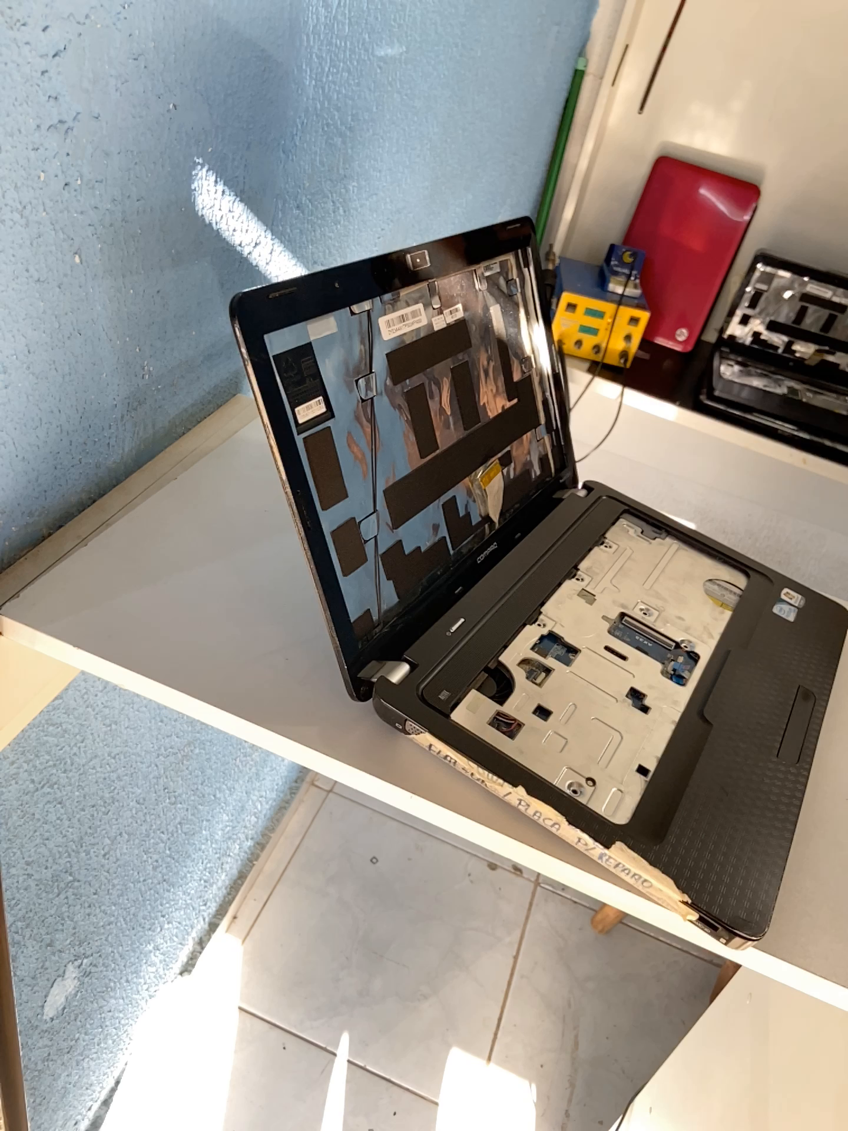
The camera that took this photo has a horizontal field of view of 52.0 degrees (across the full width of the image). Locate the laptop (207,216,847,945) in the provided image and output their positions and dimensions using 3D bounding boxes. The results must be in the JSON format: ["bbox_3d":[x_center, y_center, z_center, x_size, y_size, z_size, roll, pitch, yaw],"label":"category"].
[{"bbox_3d":[0.113,-0.043,0.535,0.335,0.182,0.333,29,38,18],"label":"laptop"}]
